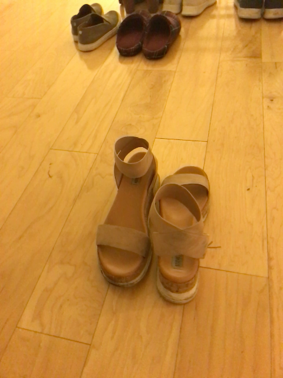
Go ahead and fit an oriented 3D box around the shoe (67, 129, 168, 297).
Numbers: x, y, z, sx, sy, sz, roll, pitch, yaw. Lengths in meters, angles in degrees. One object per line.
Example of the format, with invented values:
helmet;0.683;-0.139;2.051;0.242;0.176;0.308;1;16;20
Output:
shoe;-0.022;0.031;0.534;0.100;0.139;0.252;4;50;11

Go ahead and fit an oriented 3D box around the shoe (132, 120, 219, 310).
shoe;0.072;0.029;0.527;0.100;0.139;0.292;5;50;12
